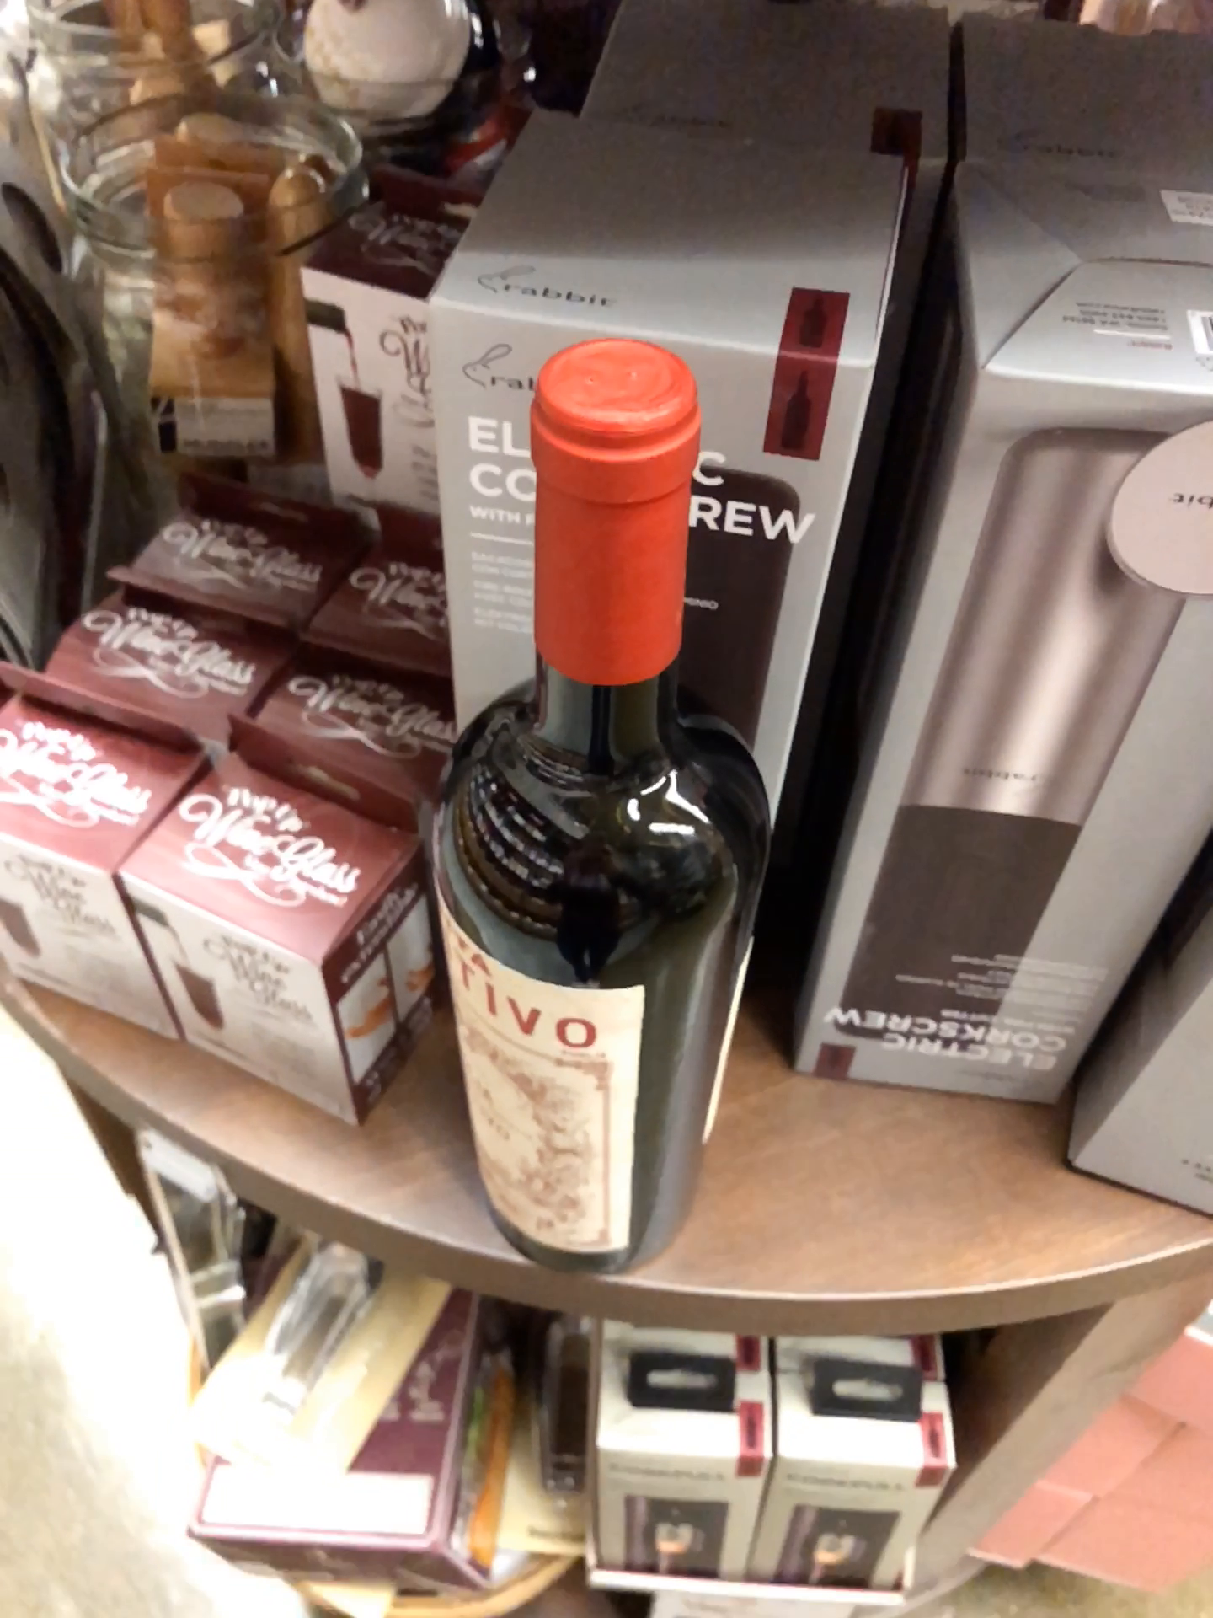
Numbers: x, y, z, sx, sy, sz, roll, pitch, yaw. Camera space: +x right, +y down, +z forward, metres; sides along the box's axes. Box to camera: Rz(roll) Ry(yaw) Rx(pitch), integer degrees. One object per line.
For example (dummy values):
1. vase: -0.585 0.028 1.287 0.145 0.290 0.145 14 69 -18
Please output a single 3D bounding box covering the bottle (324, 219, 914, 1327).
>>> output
1. bottle: -0.002 0.025 0.331 0.071 0.299 0.072 0 49 0
